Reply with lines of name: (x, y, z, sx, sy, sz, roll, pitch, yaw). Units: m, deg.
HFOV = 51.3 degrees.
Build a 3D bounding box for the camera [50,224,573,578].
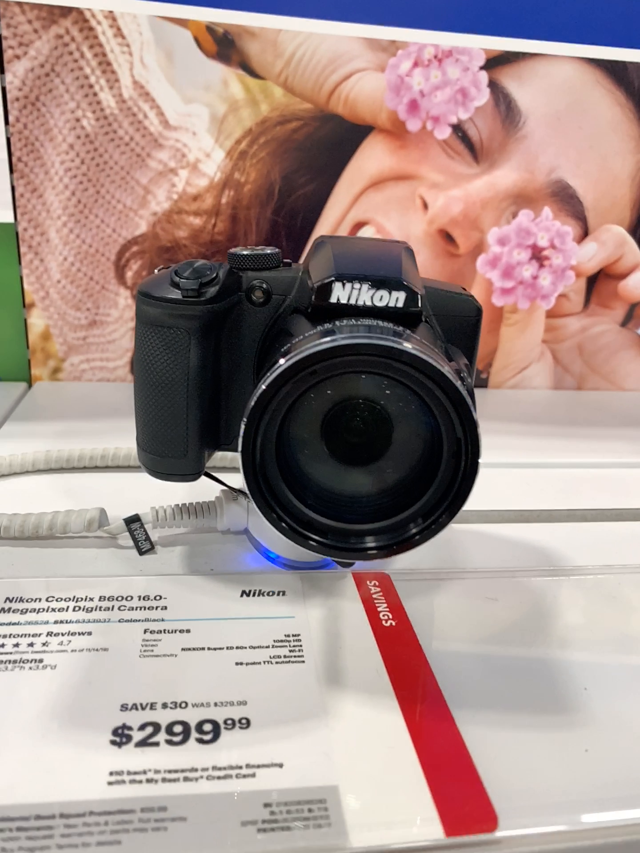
camera: (-0.005, -0.016, 0.213, 0.120, 0.080, 0.100, 3, 19, -3)
